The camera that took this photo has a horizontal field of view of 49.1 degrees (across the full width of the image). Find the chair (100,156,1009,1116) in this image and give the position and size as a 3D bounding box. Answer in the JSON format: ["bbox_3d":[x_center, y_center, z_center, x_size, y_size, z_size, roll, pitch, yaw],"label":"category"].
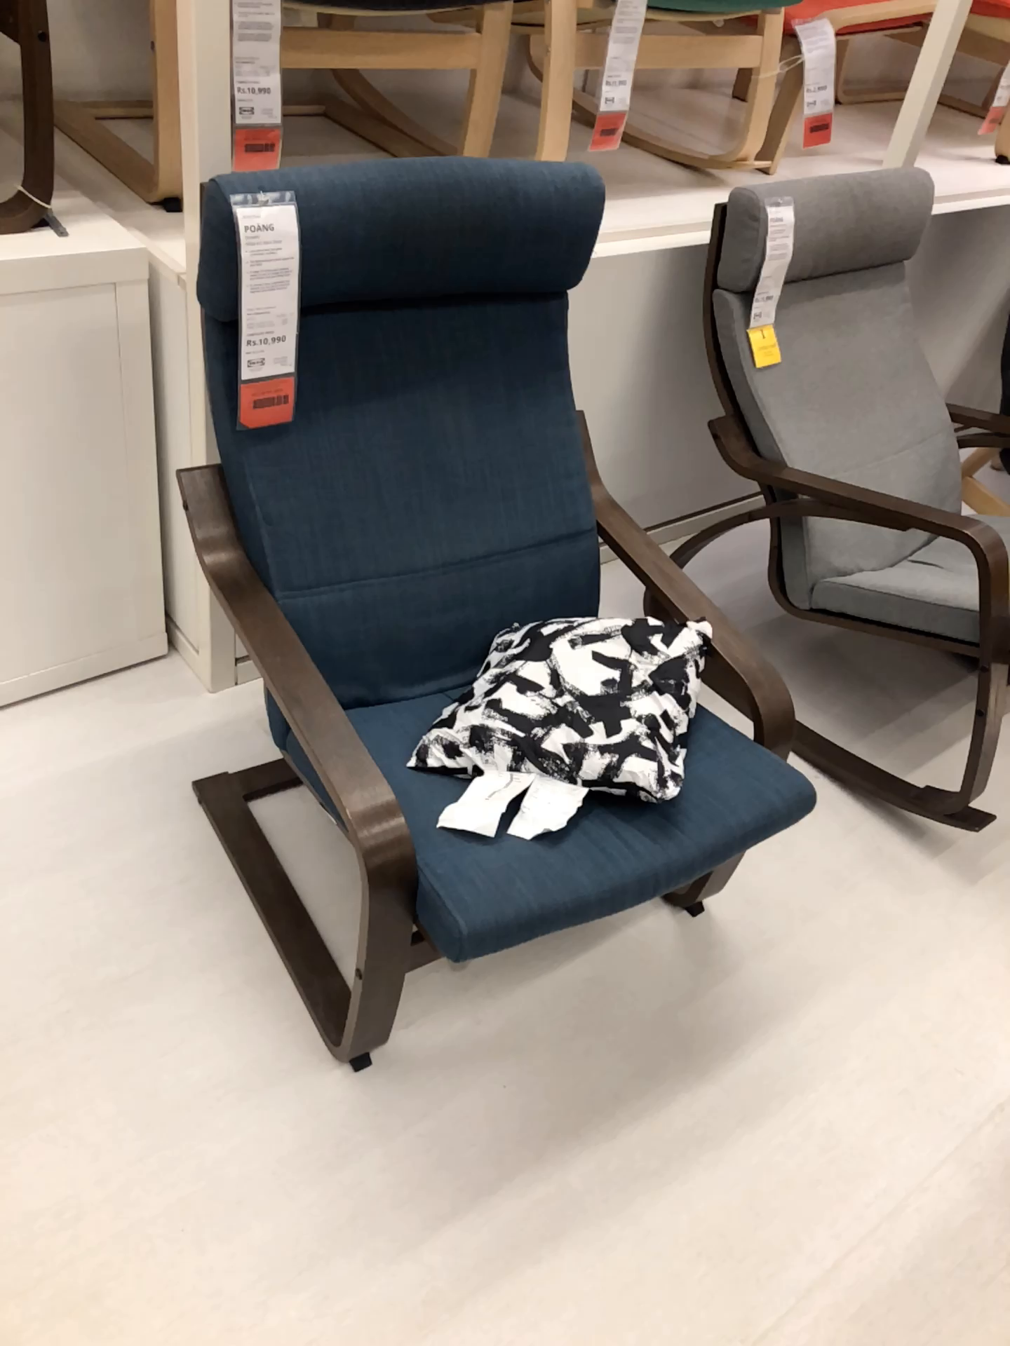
[{"bbox_3d":[-0.021,-0.101,1.452,0.722,0.884,0.693,-16,45,-30],"label":"chair"}]
